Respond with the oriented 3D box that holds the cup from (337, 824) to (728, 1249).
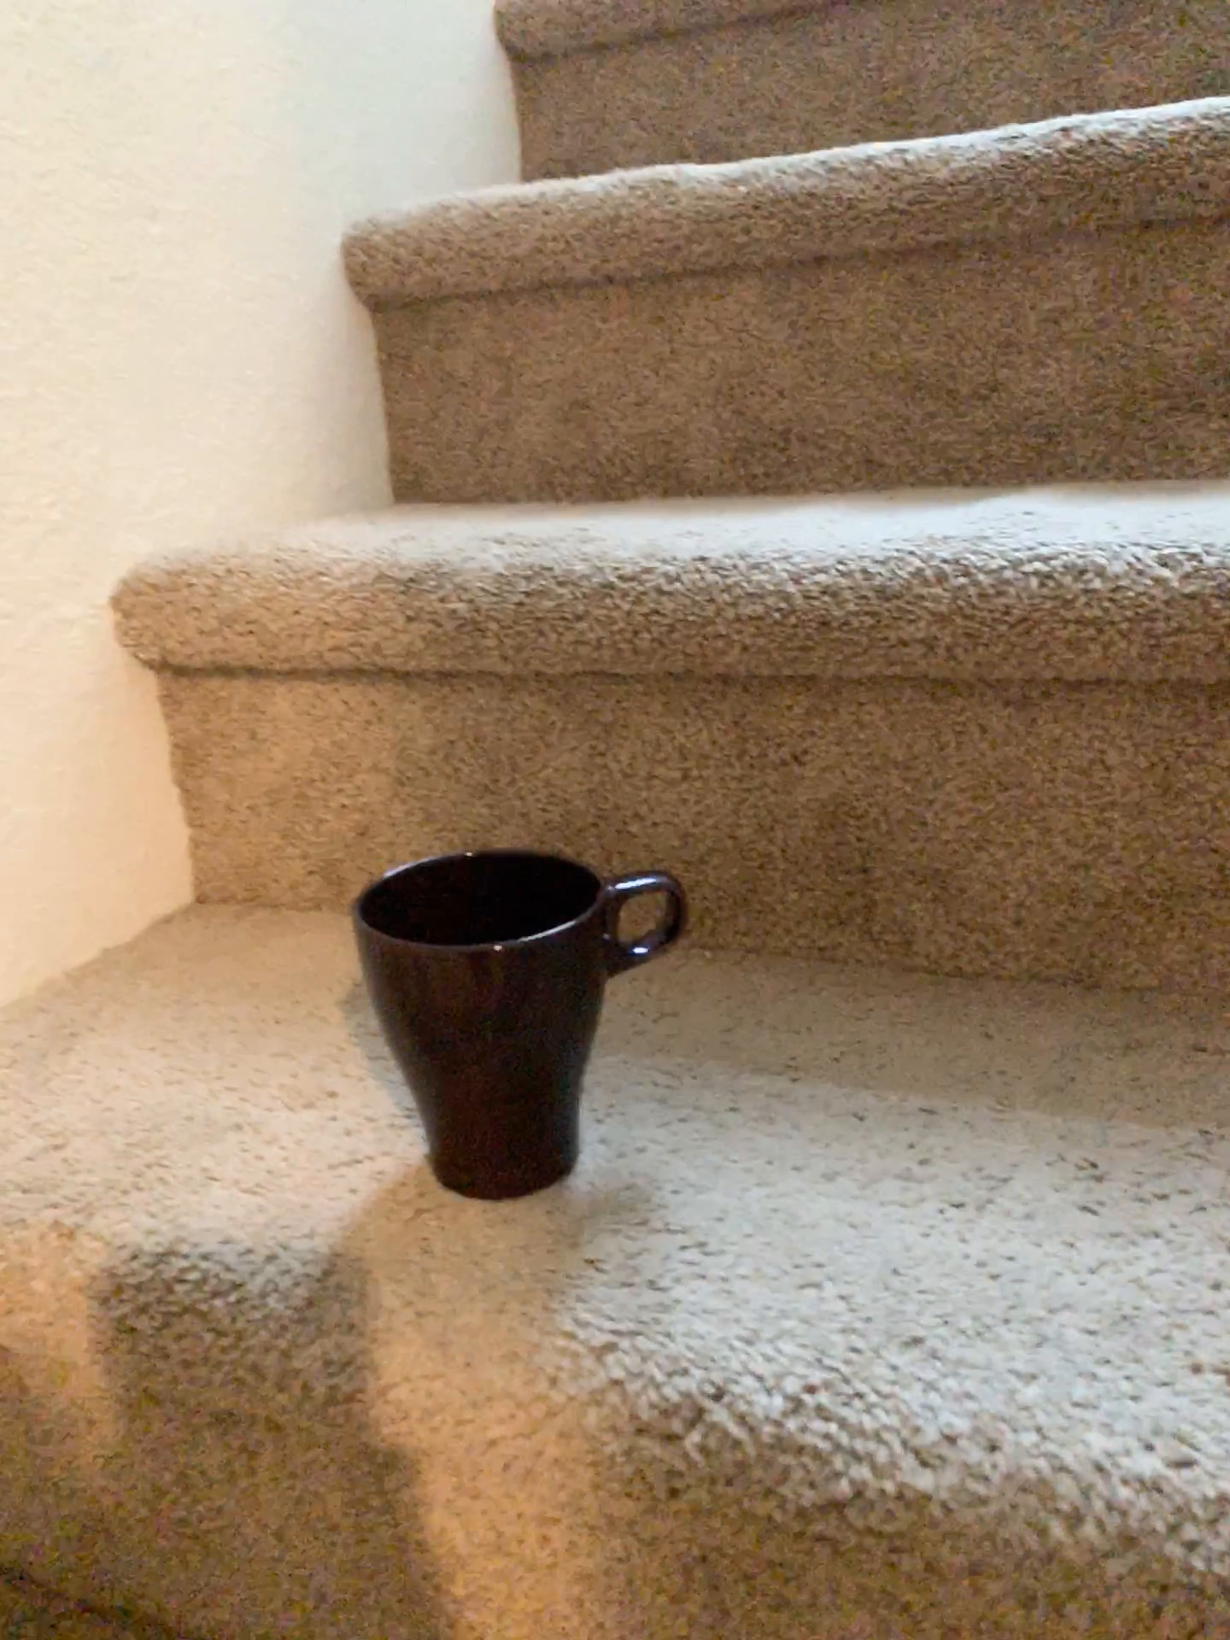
[{"bbox_3d":[-0.029,0.068,0.435,0.110,0.099,0.080,-9,17,-17],"label":"cup"}]
